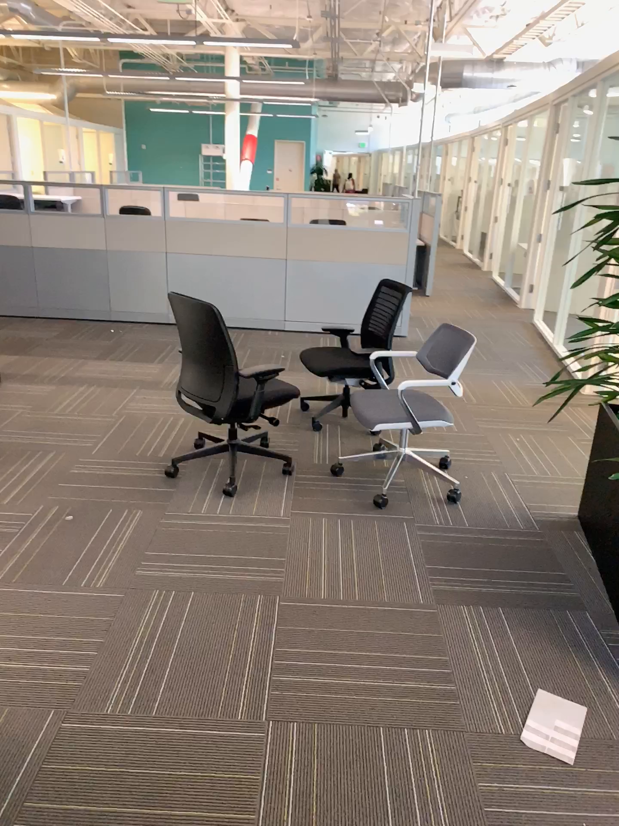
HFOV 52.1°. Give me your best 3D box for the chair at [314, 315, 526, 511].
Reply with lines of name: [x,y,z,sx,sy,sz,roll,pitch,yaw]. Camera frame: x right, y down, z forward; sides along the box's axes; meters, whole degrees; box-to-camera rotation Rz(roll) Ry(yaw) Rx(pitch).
chair: [0.491,-0.047,3.206,0.760,0.736,0.774,-2,21,-12]

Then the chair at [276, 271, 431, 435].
chair: [0.262,-0.457,4.398,0.760,0.925,0.774,-6,21,-21]

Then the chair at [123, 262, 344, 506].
chair: [-0.393,-0.213,3.245,0.761,0.955,0.773,-16,27,-40]
